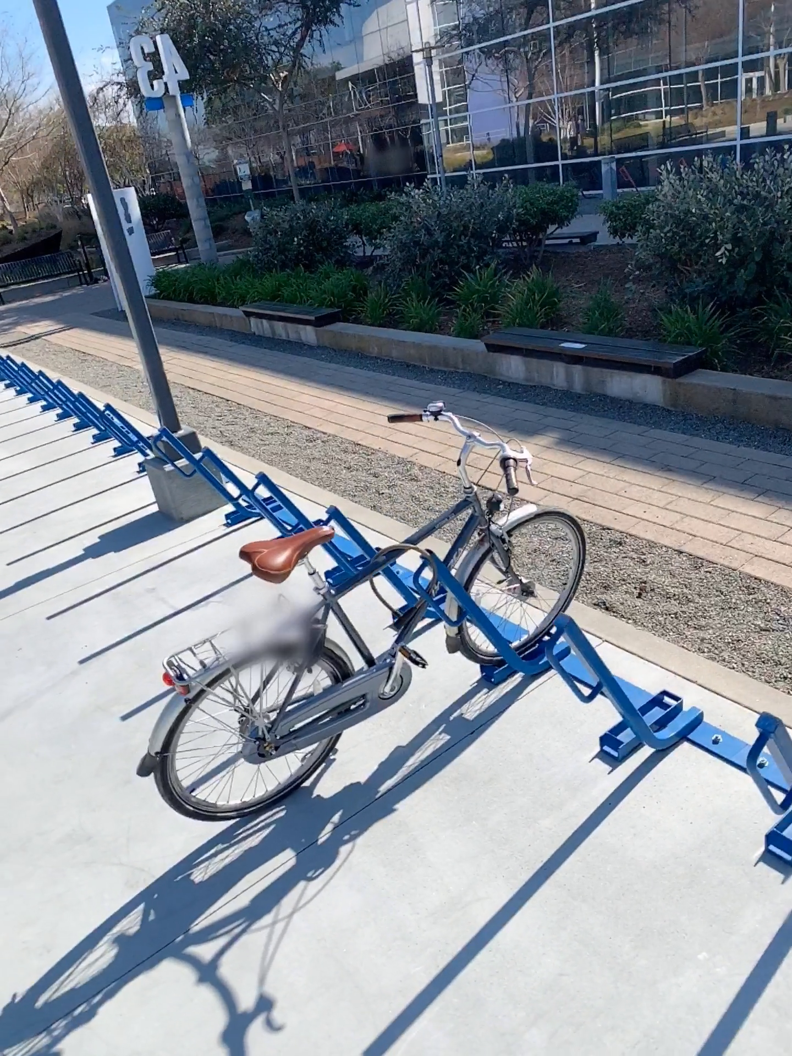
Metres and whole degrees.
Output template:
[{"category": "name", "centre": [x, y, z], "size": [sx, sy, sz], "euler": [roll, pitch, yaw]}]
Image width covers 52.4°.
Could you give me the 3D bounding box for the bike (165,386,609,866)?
[{"category": "bike", "centre": [0.025, 0.212, 2.412], "size": [1.061, 0.915, 0.593], "euler": [-23, 28, -26]}]
